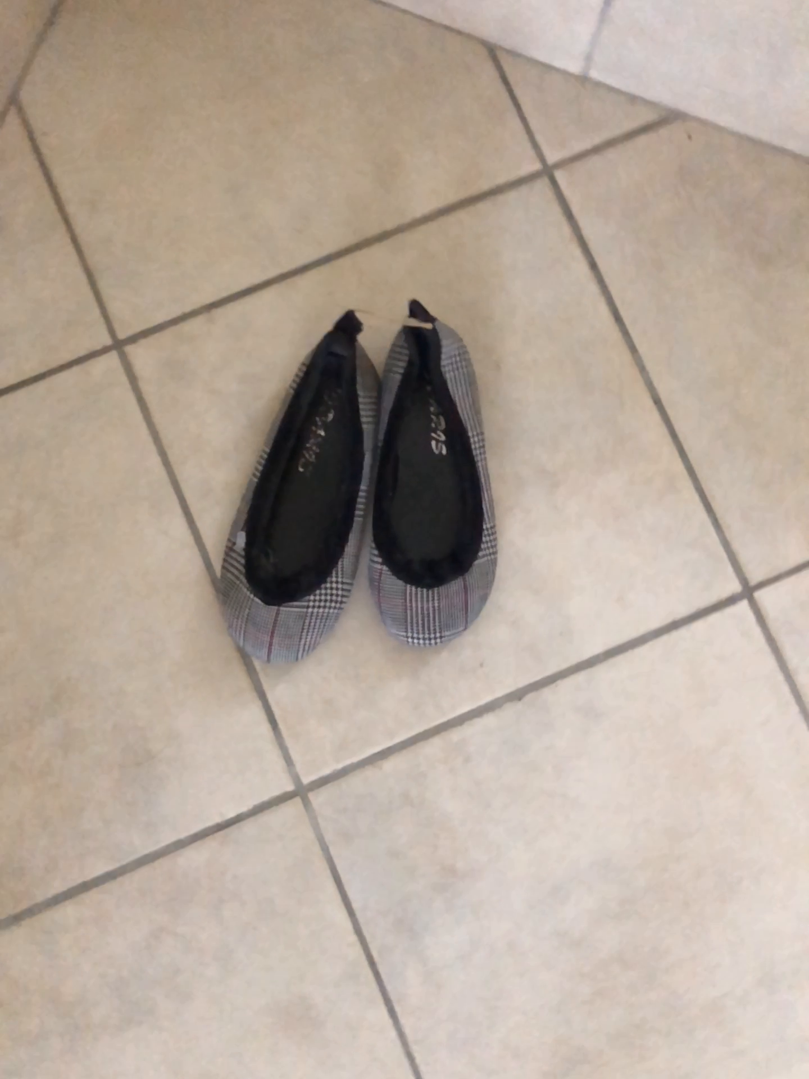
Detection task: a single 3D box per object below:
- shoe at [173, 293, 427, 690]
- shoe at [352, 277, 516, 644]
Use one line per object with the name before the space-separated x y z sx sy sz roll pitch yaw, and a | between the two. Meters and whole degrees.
shoe | -0.057 -0.026 0.537 0.090 0.070 0.210 15 84 1
shoe | 0.015 -0.043 0.538 0.090 0.070 0.210 0 84 -1
